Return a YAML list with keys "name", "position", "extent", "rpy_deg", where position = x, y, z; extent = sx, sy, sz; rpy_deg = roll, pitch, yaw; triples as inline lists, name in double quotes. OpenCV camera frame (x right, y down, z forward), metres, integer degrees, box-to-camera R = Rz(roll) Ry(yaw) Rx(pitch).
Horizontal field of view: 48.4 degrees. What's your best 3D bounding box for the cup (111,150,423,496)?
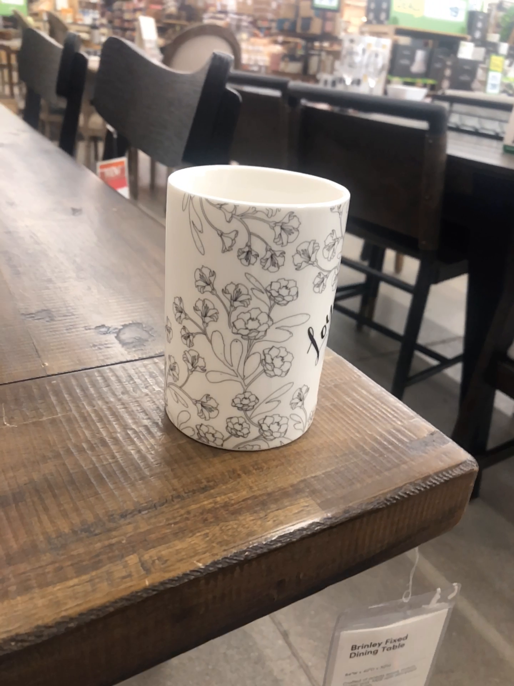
- name: "cup"
  position: [0.008, -0.023, 0.282]
  extent: [0.097, 0.116, 0.120]
  rpy_deg: [16, 28, 23]
